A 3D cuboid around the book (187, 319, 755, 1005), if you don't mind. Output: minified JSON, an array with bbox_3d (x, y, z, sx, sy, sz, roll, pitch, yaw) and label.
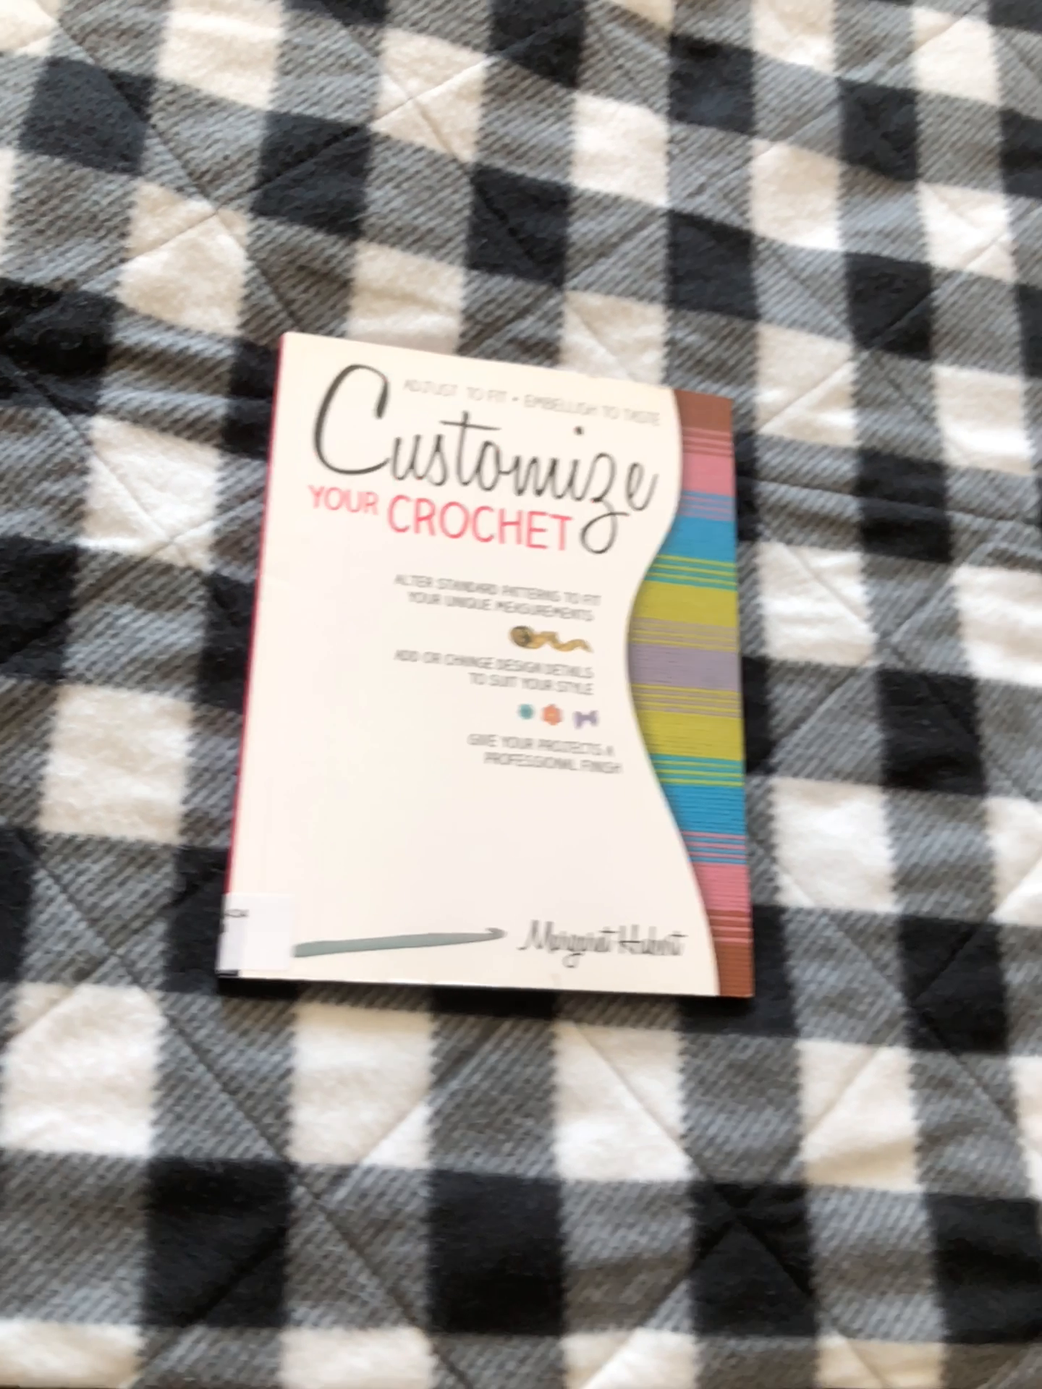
[{"bbox_3d":[-0.011,-0.014,0.419,0.186,0.020,0.238,5,71,-12],"label":"book"}]
